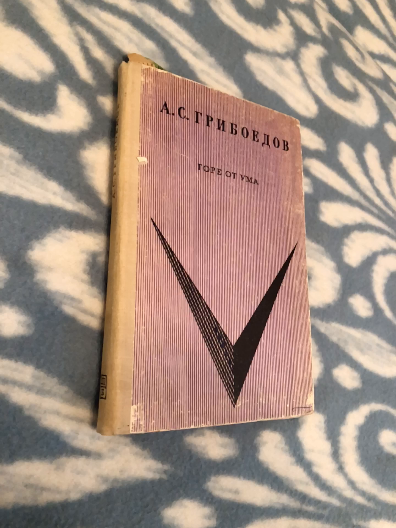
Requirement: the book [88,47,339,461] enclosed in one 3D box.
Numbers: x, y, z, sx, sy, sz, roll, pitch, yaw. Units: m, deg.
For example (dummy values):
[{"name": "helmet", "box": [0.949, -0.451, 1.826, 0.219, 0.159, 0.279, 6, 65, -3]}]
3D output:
[{"name": "book", "box": [0.019, -0.005, 0.274, 0.158, 0.020, 0.217, 7, 77, -30]}]
